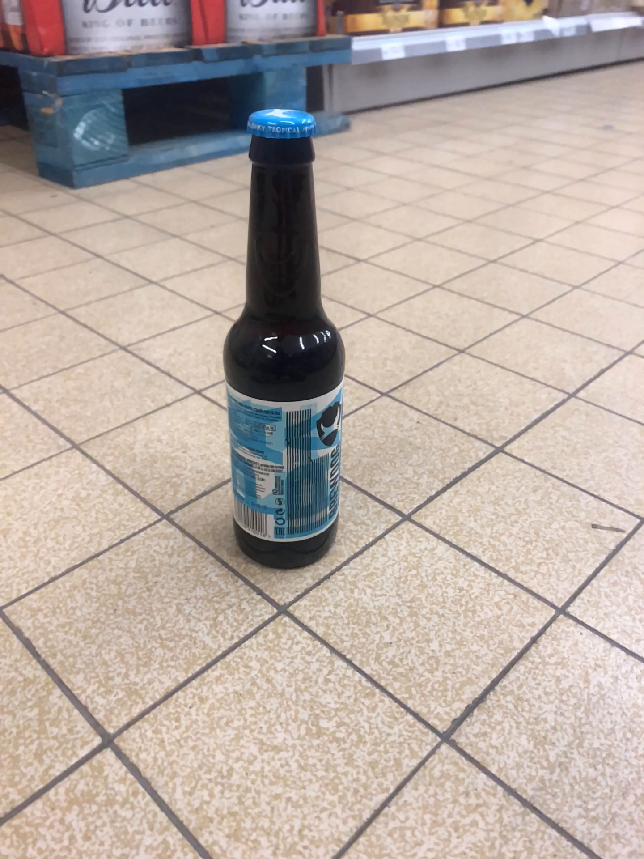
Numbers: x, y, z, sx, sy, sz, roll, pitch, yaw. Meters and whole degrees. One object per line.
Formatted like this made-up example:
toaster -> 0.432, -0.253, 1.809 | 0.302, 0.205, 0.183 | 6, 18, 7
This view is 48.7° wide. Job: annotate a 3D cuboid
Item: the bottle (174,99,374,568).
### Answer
bottle -> -0.017, -0.038, 0.341 | 0.070, 0.209, 0.070 | 1, 33, 0
